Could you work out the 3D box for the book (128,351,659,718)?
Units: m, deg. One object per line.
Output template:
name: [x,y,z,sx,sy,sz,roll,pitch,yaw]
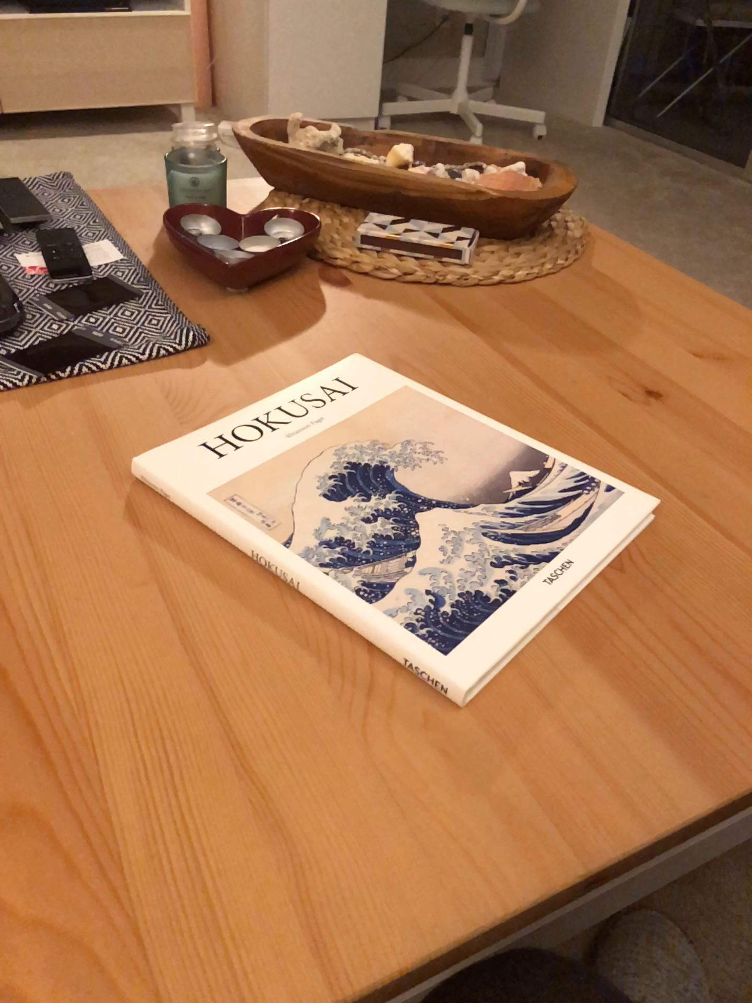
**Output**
book: [0.012,-0.006,0.514,0.252,0.020,0.211,31,44,29]
